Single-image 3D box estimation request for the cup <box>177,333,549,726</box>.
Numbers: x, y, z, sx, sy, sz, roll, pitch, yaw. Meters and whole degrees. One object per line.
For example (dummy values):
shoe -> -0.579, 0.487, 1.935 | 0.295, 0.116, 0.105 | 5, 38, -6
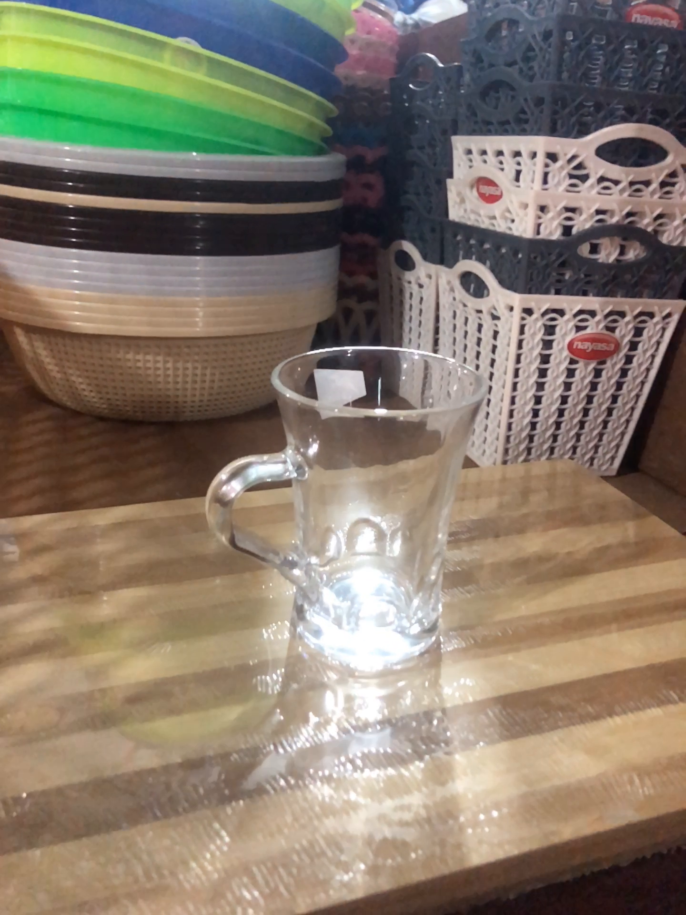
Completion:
cup -> 0.002, 0.016, 0.236 | 0.090, 0.090, 0.060 | -8, 25, -24
